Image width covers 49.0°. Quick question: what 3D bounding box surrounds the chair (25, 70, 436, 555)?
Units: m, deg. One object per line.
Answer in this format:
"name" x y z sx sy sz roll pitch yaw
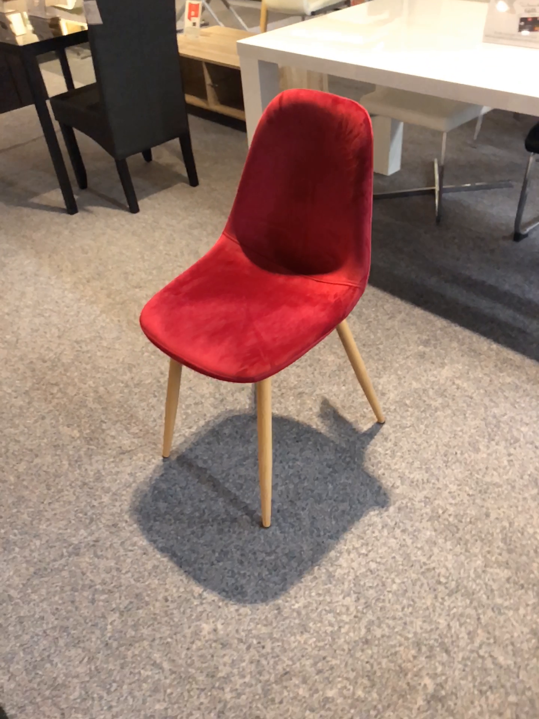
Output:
"chair" -0.038 -0.122 1.351 0.530 0.816 0.553 27 50 33
